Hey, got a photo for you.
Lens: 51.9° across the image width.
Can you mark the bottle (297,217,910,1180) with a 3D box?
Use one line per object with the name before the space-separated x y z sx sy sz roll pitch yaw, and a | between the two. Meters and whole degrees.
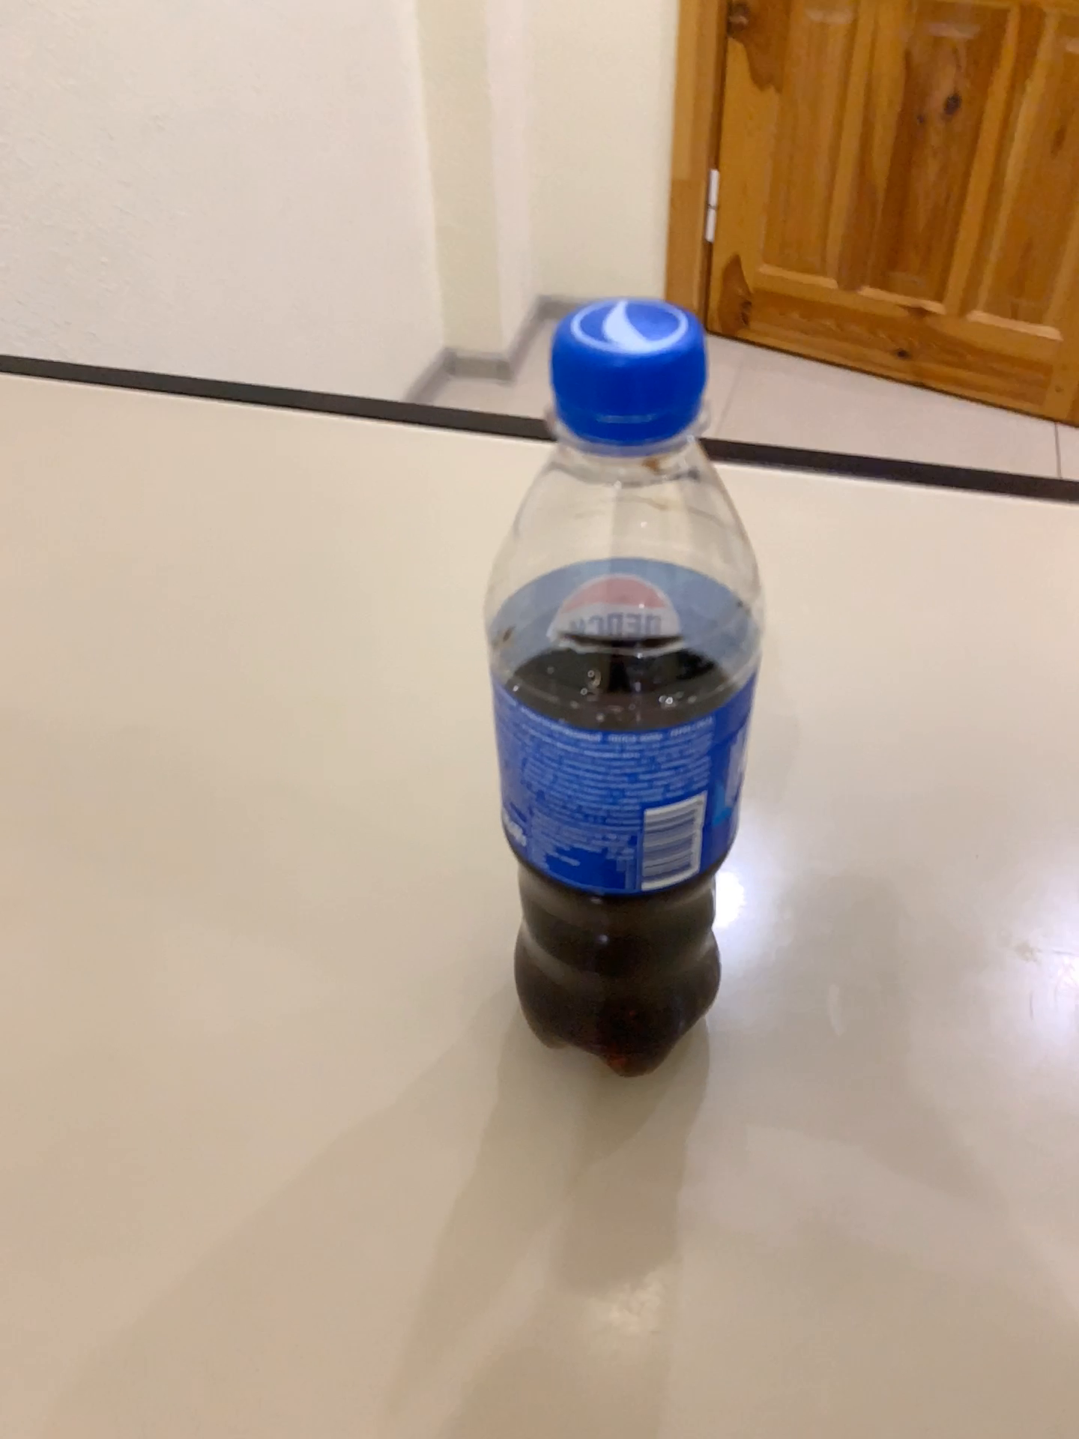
bottle | 0.015 0.011 0.283 0.080 0.229 0.080 -1 43 1
